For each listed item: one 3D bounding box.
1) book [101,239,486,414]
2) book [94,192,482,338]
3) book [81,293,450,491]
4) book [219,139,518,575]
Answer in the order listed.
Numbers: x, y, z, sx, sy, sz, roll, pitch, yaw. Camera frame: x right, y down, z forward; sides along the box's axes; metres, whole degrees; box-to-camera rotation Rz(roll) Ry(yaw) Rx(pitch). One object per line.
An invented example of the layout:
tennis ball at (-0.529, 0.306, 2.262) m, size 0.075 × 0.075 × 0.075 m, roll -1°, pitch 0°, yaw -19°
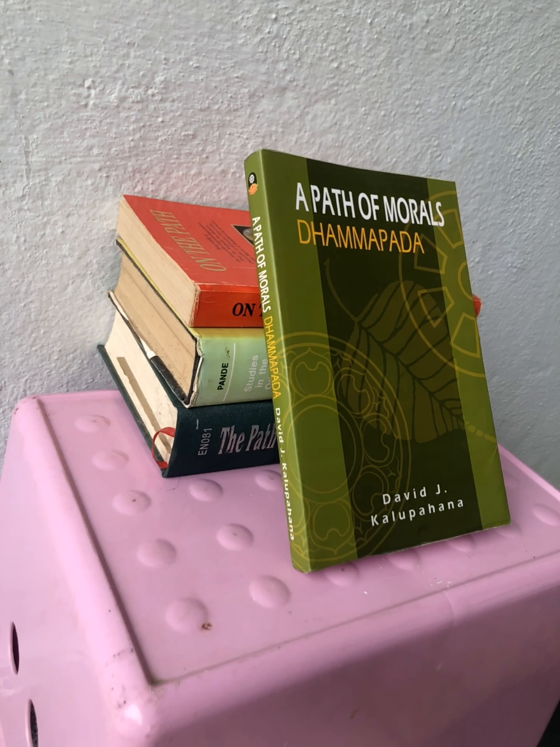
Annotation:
book at (0.005, -0.041, 0.426) m, size 0.211 × 0.040 × 0.160 m, roll -4°, pitch 31°, yaw -31°
book at (0.002, -0.077, 0.419) m, size 0.211 × 0.030 × 0.160 m, roll -4°, pitch 31°, yaw -31°
book at (-0.016, -0.002, 0.443) m, size 0.211 × 0.050 × 0.160 m, roll -3°, pitch 31°, yaw -29°
book at (0.052, -0.012, 0.351) m, size 0.151 × 0.210 × 0.040 m, roll -2°, pitch -9°, yaw -32°
